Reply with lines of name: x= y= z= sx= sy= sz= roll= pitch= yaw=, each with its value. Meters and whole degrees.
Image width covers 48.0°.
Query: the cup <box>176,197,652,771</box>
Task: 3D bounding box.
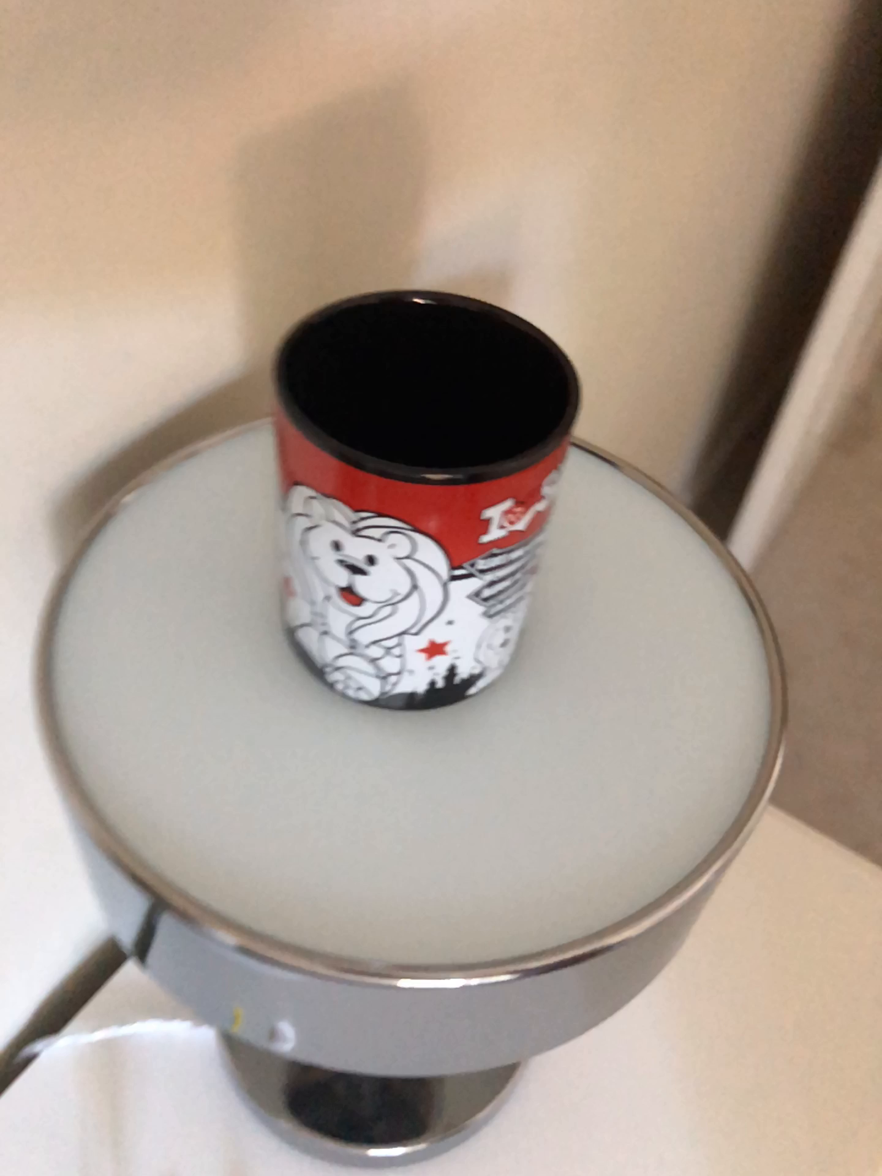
cup: x=-0.004 y=-0.037 z=0.310 sx=0.090 sy=0.100 sz=0.131 roll=19 pitch=47 yaw=10
